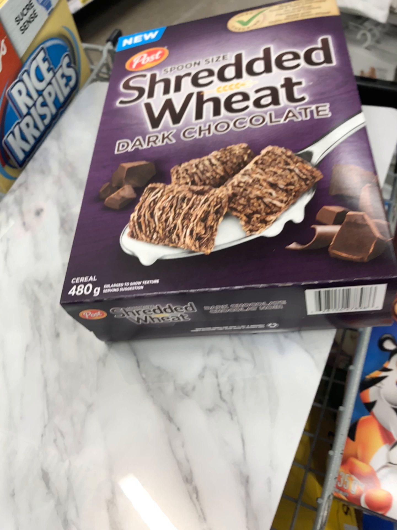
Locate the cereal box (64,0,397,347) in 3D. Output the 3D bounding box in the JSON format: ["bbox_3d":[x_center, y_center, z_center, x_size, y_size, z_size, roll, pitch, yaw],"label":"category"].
[{"bbox_3d":[0.023,-0.089,0.356,0.190,0.070,0.290,-4,59,11],"label":"cereal box"}]
